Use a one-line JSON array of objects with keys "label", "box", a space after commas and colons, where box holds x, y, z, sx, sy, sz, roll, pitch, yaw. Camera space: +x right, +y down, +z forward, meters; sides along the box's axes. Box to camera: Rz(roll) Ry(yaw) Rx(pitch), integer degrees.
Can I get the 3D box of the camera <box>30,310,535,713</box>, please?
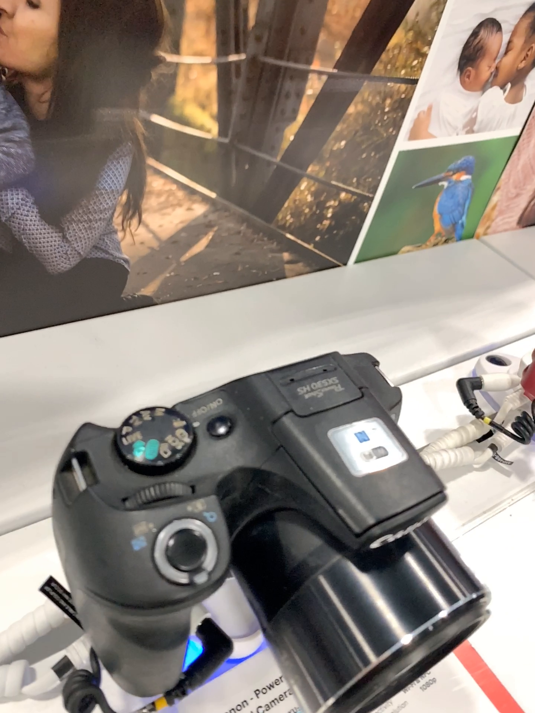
[{"label": "camera", "box": [0.010, 0.056, 0.167, 0.124, 0.080, 0.090, -17, 47, -32]}]
